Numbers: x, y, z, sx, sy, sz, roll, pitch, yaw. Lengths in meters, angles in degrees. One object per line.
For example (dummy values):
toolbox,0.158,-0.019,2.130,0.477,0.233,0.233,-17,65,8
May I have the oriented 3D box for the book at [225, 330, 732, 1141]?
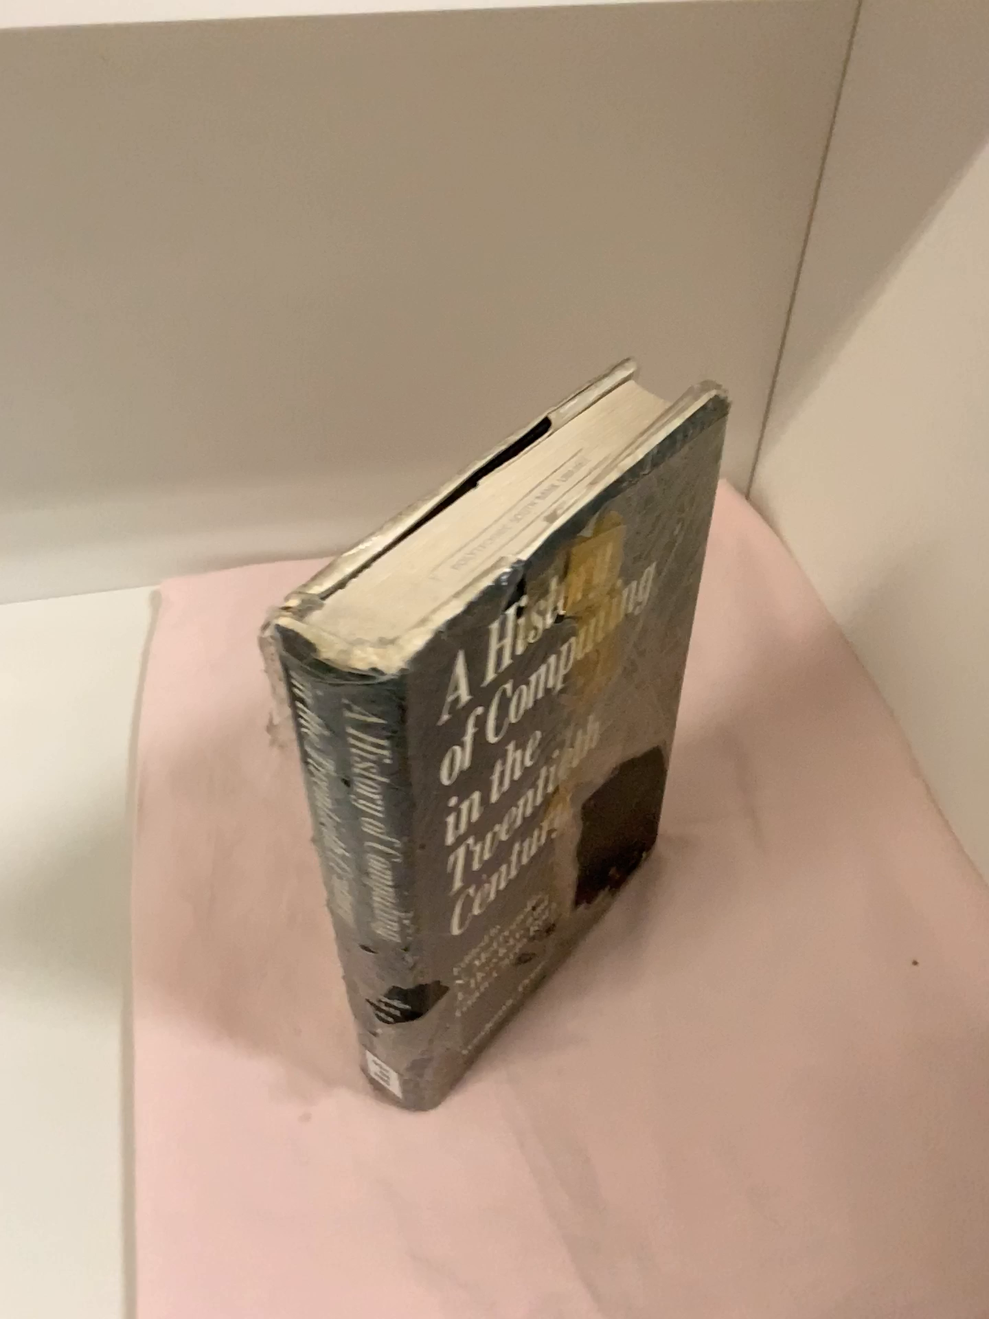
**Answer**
book,0.008,0.037,0.360,0.042,0.247,0.168,27,50,28
